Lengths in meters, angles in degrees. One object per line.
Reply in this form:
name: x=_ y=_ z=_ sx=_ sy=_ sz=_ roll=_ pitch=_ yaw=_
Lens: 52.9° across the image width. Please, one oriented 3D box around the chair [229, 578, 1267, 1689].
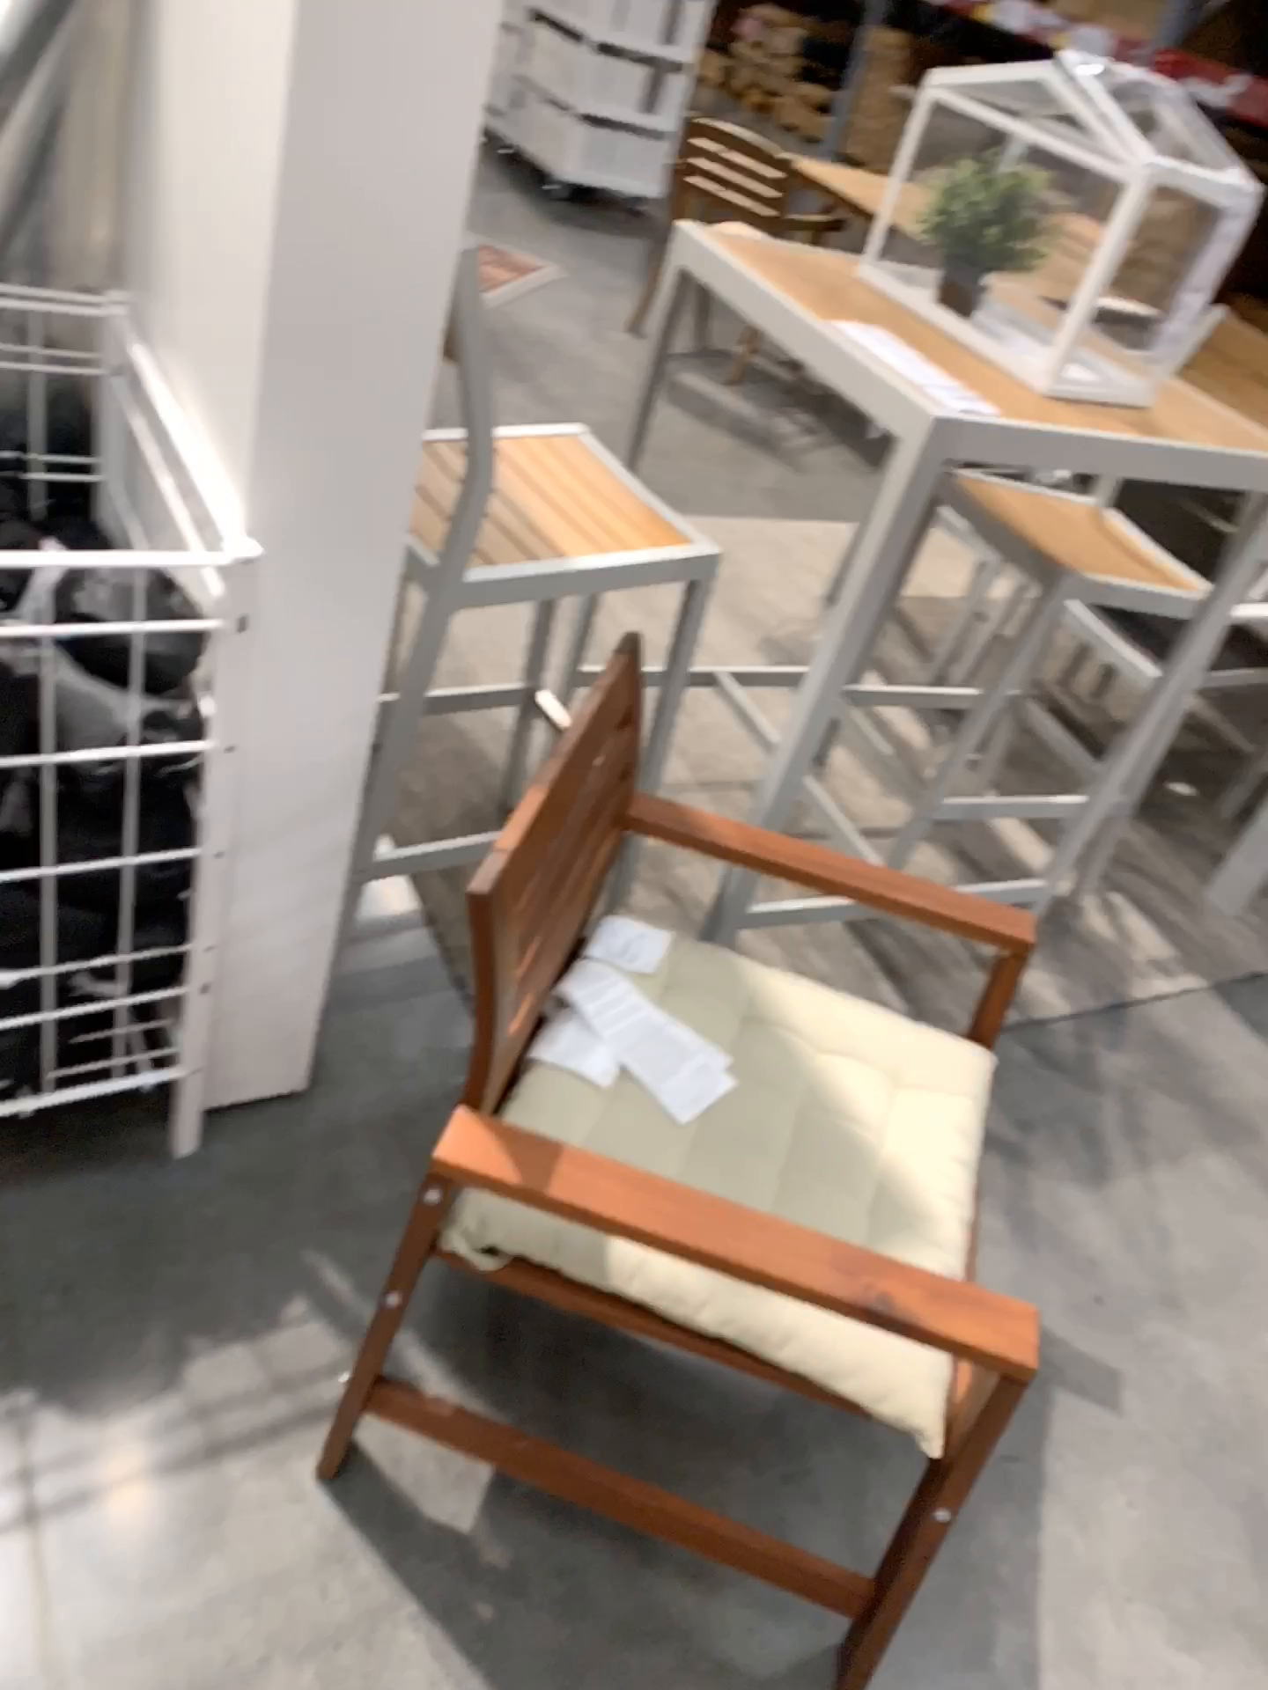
chair: x=0.104 y=0.284 z=1.307 sx=0.720 sy=0.706 sz=0.653 roll=20 pitch=36 yaw=1
